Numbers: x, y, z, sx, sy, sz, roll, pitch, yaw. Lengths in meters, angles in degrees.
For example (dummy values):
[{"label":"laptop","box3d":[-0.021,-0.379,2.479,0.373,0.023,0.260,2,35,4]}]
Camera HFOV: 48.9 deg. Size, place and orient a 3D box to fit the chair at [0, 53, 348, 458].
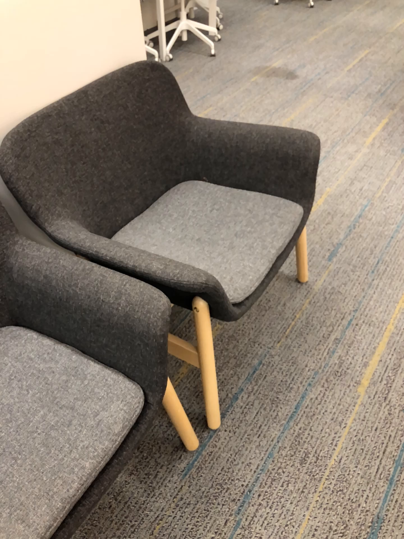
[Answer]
[{"label":"chair","box3d":[-0.104,-0.087,1.432,0.732,0.834,0.743,25,50,26]}]
